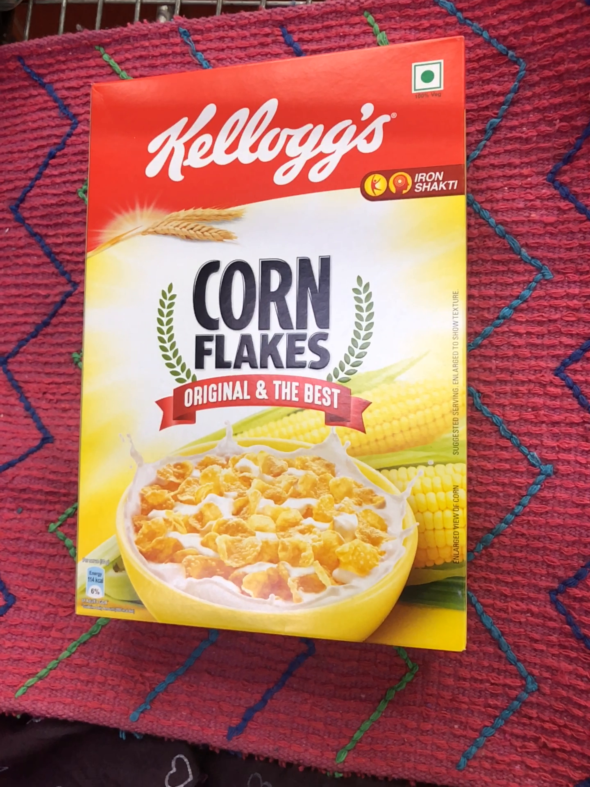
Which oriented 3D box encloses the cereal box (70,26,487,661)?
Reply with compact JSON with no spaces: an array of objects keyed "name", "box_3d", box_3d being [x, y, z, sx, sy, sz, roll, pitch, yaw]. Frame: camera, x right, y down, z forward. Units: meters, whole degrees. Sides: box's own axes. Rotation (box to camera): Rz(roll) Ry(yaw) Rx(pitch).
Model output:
[{"name":"cereal box","box_3d":[-0.005,-0.021,0.326,0.190,0.070,0.260,0,88,15]}]
